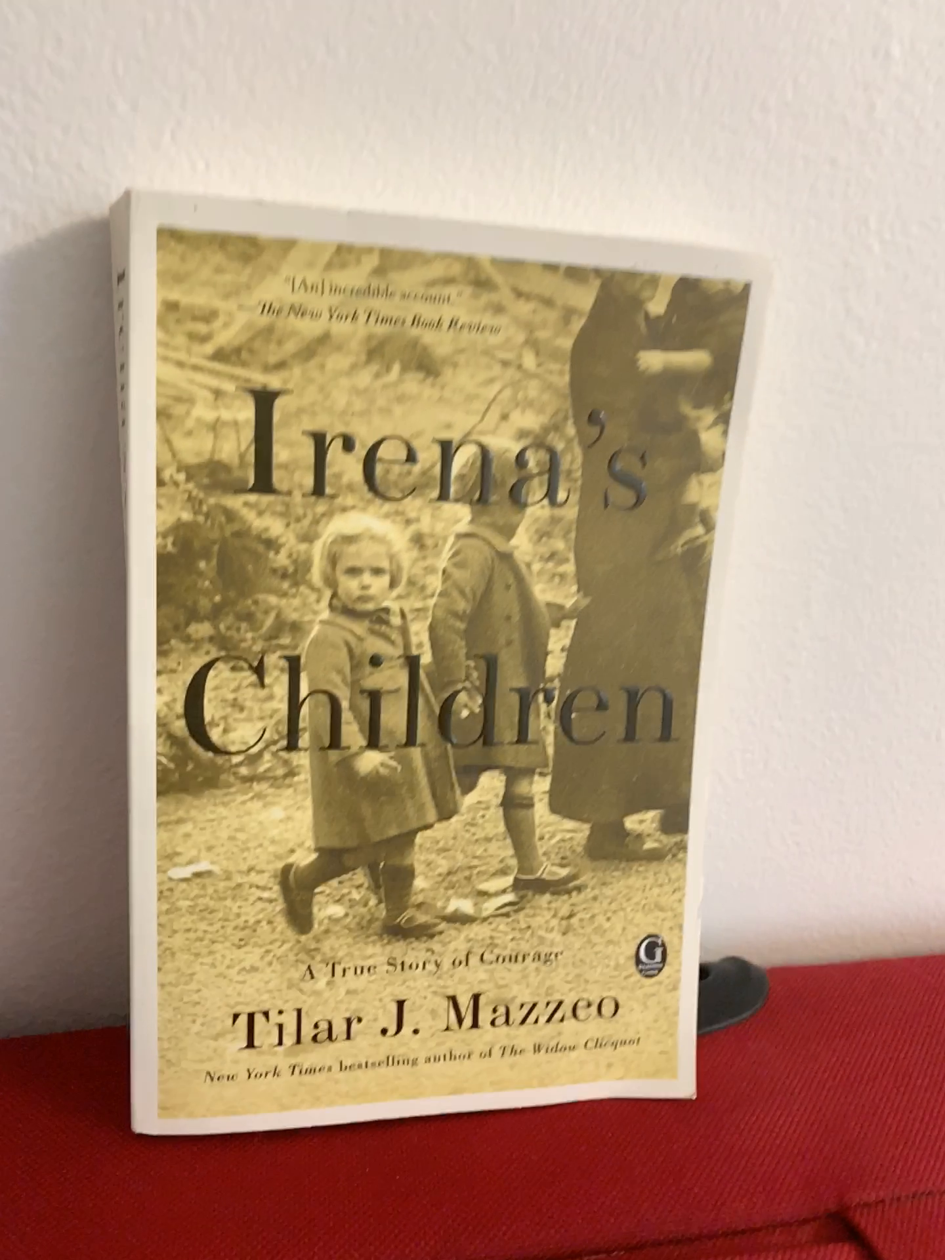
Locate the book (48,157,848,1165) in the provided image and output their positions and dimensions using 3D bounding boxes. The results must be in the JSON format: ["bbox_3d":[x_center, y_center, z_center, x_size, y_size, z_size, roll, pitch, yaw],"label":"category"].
[{"bbox_3d":[-0.004,0.014,0.245,0.170,0.229,0.030,-1,12,-9],"label":"book"}]
